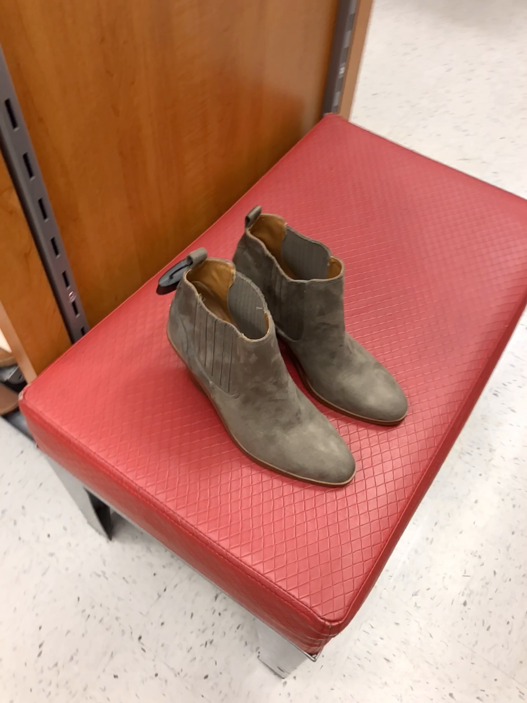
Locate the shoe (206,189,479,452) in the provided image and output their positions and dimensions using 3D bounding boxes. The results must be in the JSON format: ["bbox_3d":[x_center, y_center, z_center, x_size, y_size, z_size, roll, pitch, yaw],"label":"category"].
[{"bbox_3d":[0.069,-0.035,0.628,0.251,0.150,0.107,34,59,19],"label":"shoe"}]

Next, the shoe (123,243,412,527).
[{"bbox_3d":[-0.005,0.034,0.582,0.251,0.160,0.097,34,59,19],"label":"shoe"}]
